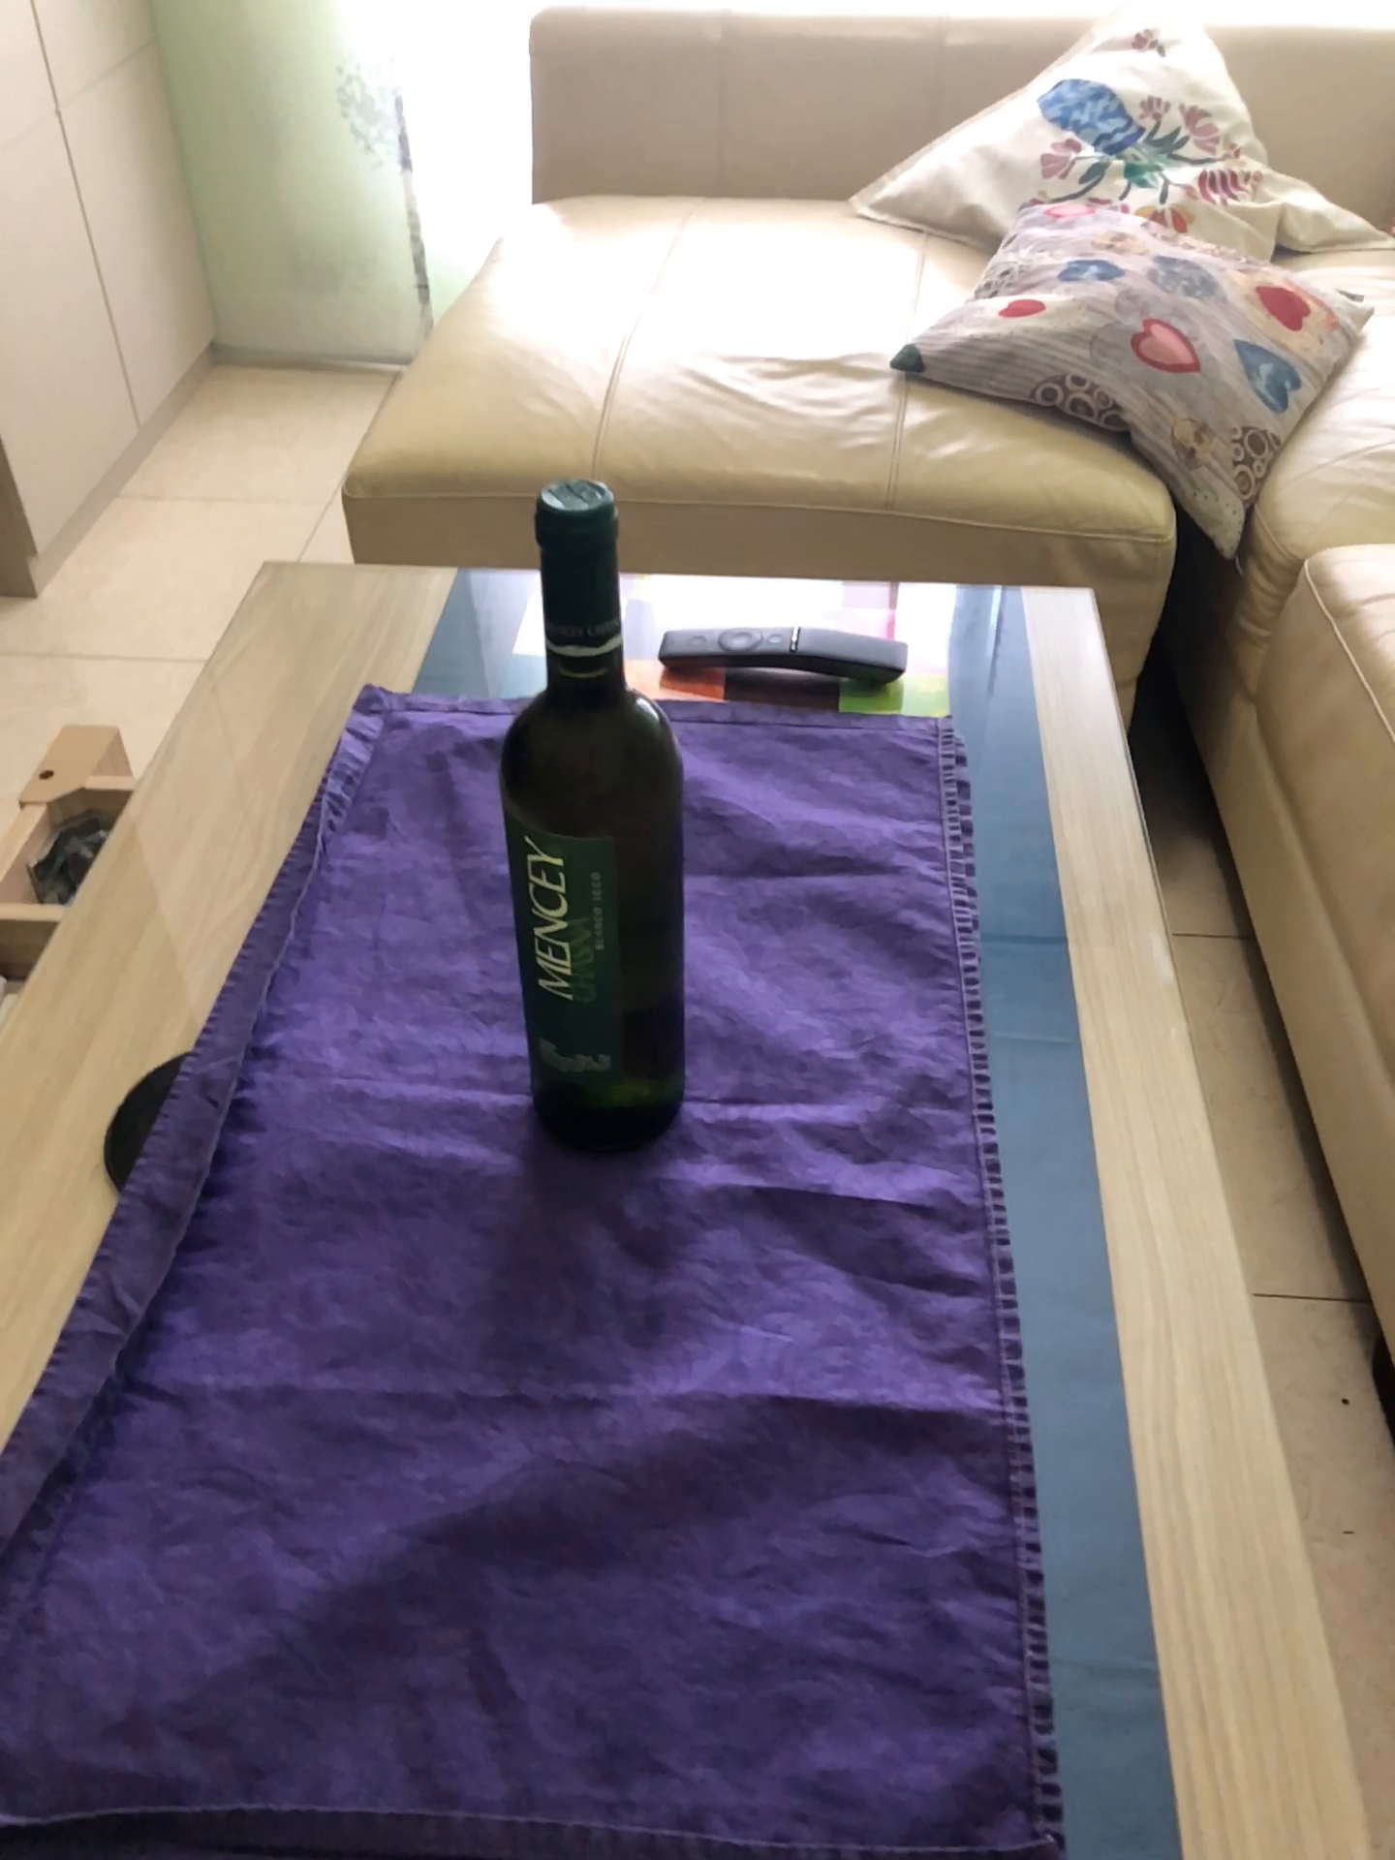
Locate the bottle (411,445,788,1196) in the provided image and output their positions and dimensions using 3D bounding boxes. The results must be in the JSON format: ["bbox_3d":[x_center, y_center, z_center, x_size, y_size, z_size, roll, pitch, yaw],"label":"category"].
[{"bbox_3d":[-0.030,-0.031,0.588,0.090,0.269,0.090,0,42,0],"label":"bottle"}]
